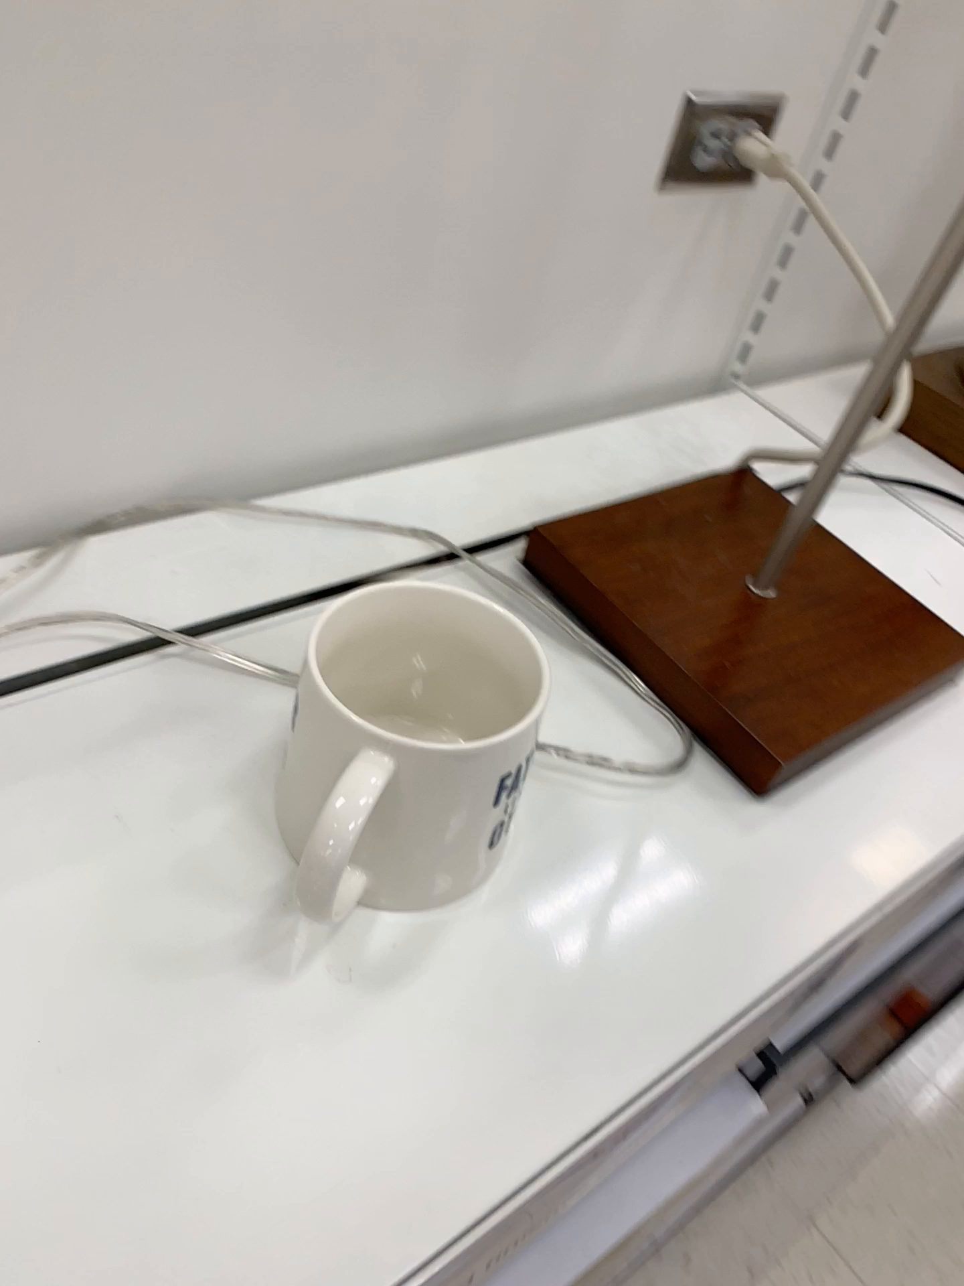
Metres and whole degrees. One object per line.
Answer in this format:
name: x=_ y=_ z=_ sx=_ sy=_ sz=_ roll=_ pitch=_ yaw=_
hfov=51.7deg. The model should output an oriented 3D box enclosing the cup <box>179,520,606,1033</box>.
cup: x=-0.038 y=0.053 z=0.452 sx=0.120 sy=0.119 sz=0.161 roll=23 pitch=42 yaw=7
